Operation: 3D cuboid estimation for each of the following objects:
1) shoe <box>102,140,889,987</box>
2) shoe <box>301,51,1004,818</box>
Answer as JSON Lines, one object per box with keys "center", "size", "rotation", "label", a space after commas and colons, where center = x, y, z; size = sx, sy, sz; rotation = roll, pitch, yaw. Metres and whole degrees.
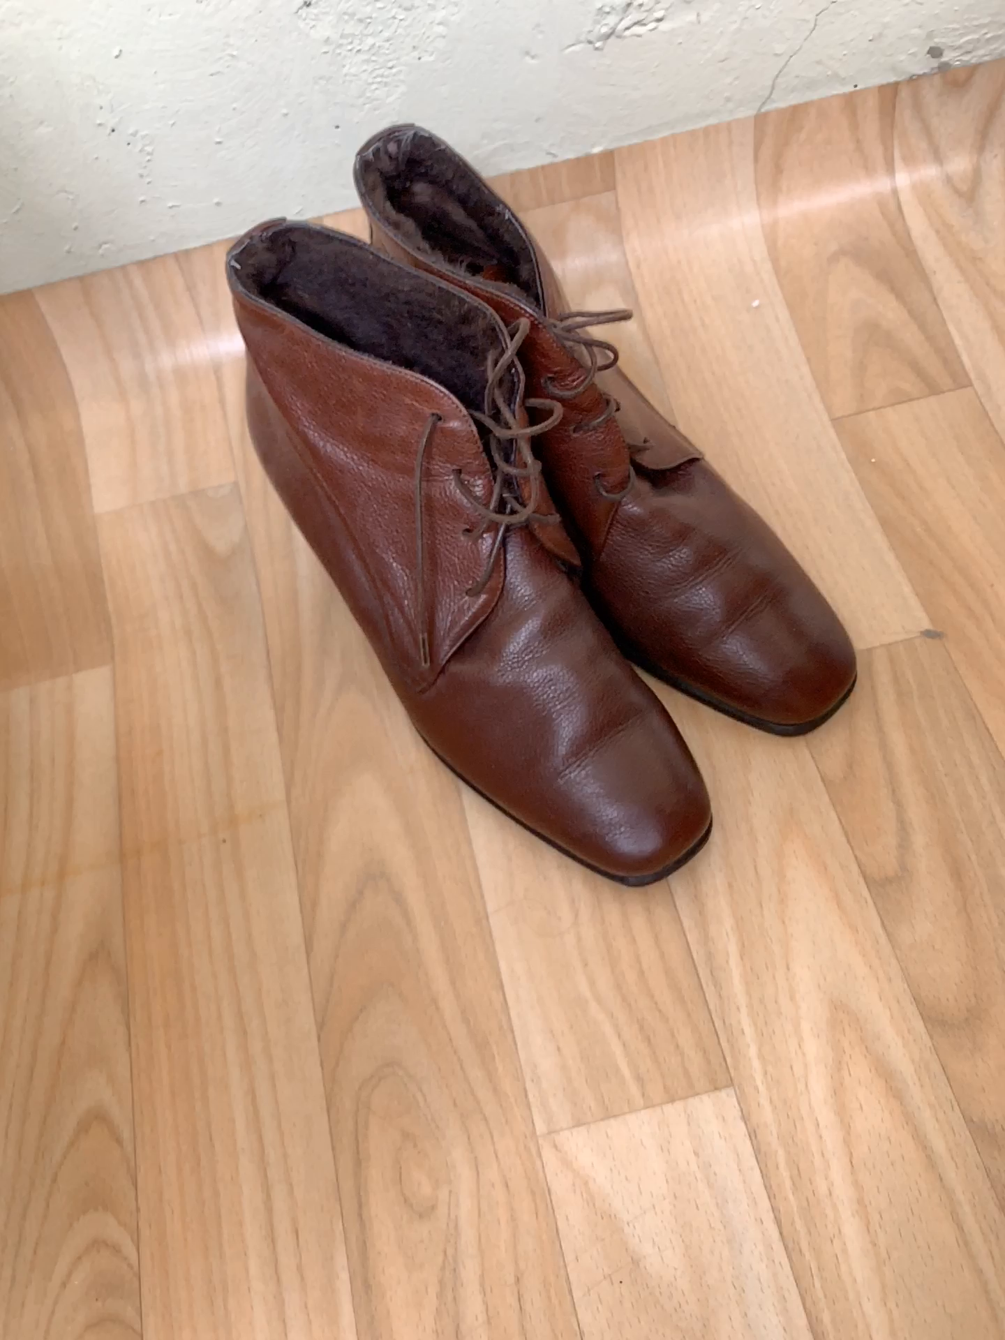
{"center": [-0.009, -0.029, 0.327], "size": [0.080, 0.150, 0.220], "rotation": [-36, 65, -12], "label": "shoe"}
{"center": [0.047, -0.076, 0.357], "size": [0.080, 0.150, 0.220], "rotation": [-41, 66, -14], "label": "shoe"}
